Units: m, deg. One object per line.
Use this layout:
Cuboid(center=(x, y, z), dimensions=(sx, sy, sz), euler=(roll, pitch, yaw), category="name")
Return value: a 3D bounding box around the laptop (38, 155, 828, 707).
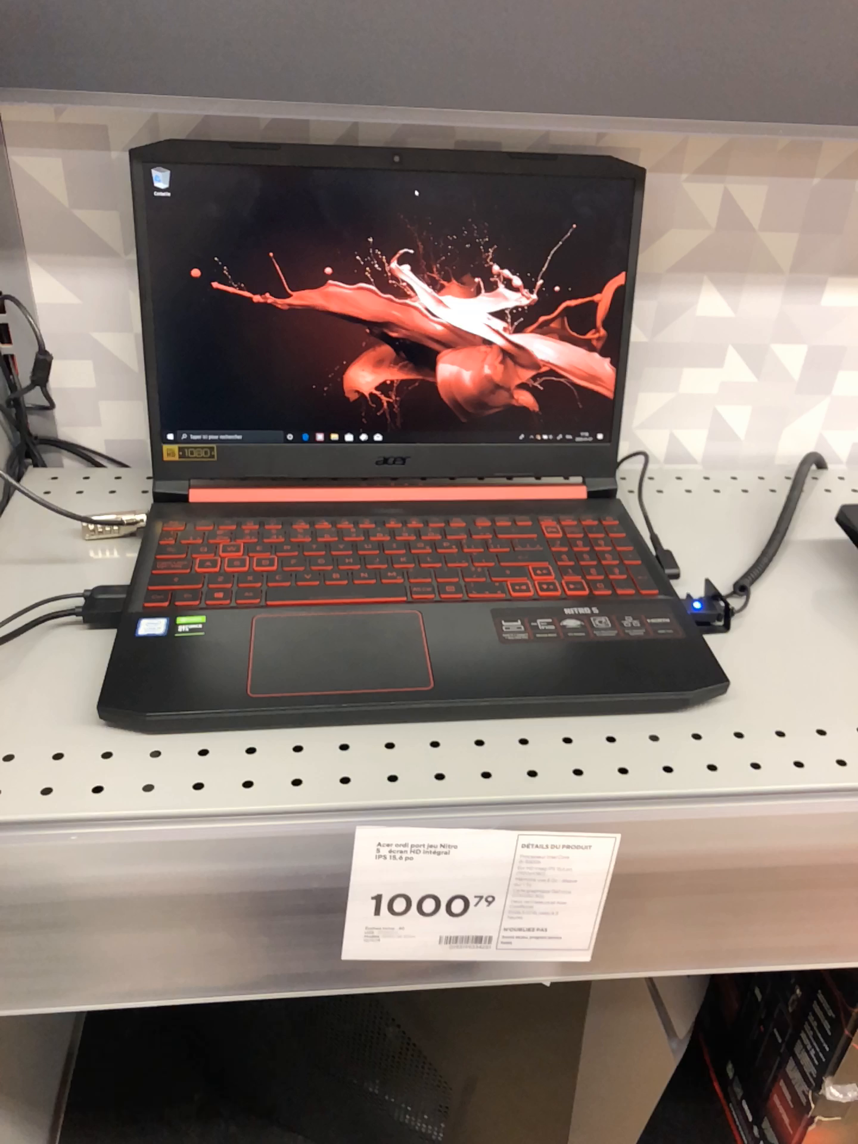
Cuboid(center=(-0.009, -0.106, 0.611), dimensions=(0.361, 0.241, 0.282), euler=(-1, 33, -8), category="laptop")
